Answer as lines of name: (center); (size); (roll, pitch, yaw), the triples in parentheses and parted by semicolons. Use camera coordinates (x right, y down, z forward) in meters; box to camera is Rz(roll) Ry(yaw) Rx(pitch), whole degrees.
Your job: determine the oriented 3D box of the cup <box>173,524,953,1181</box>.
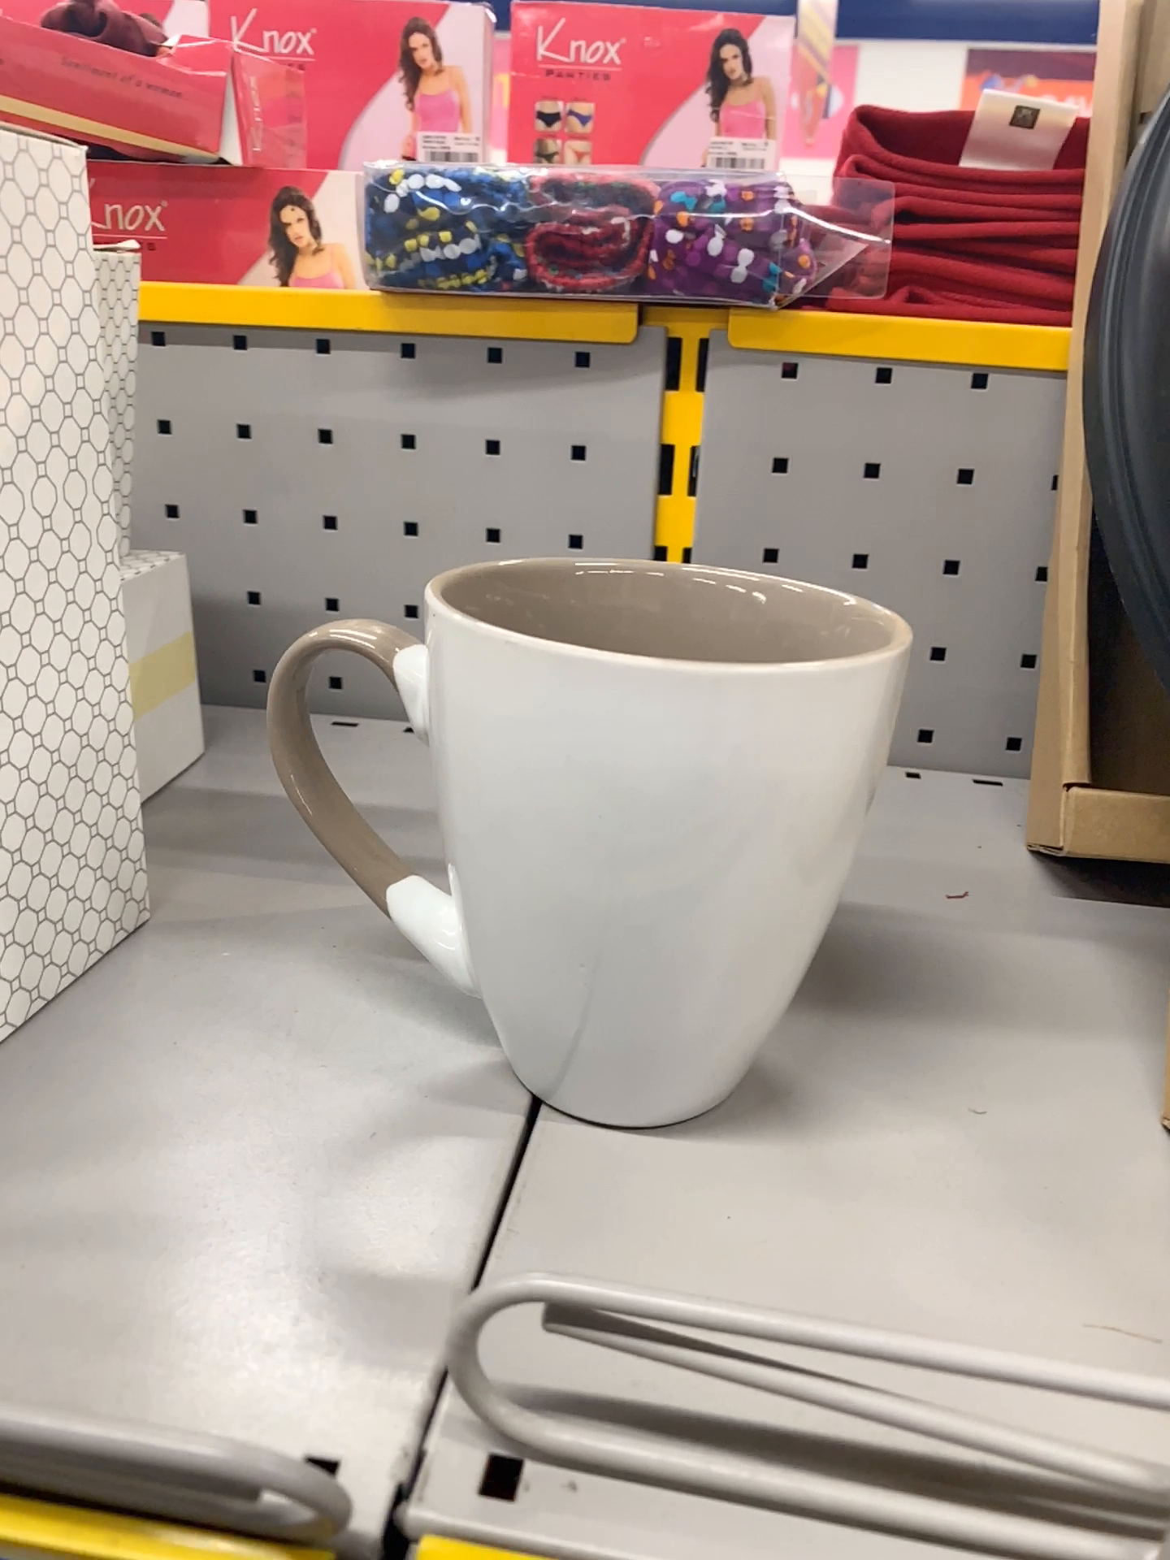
cup: (0.000, 0.005, 0.274); (0.140, 0.100, 0.100); (7, 21, 11)
